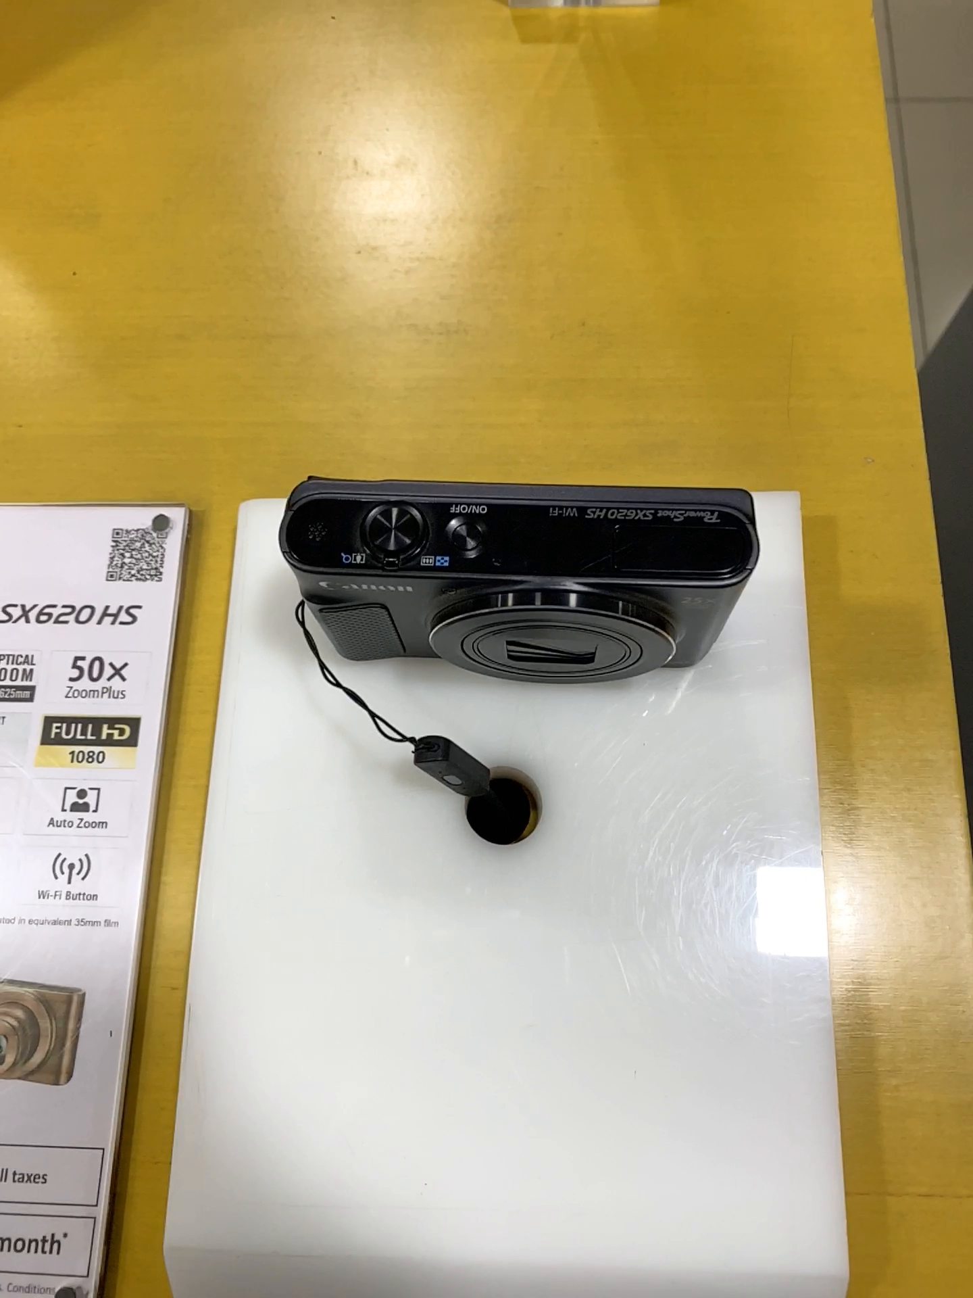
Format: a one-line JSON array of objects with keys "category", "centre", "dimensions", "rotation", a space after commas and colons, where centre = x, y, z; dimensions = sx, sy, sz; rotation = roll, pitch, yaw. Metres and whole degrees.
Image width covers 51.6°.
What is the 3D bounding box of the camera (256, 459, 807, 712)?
[{"category": "camera", "centre": [0.010, -0.011, 0.216], "dimensions": [0.100, 0.060, 0.030], "rotation": [3, 73, 3]}]
